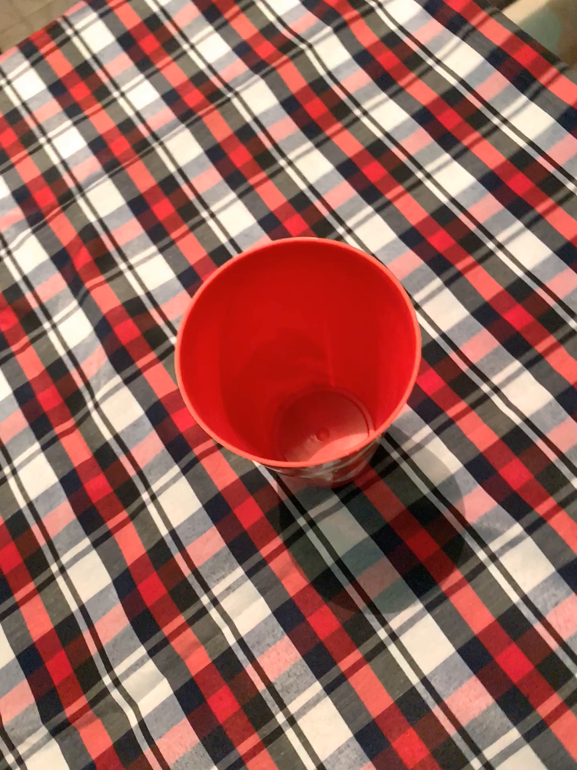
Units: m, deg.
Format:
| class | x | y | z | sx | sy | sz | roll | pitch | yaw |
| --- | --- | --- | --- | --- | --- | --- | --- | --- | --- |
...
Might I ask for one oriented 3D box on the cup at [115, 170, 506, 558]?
| class | x | y | z | sx | sy | sz | roll | pitch | yaw |
| --- | --- | --- | --- | --- | --- | --- | --- | --- | --- |
| cup | 0.014 | 0.002 | 0.275 | 0.100 | 0.130 | 0.100 | -2 | 70 | 7 |
